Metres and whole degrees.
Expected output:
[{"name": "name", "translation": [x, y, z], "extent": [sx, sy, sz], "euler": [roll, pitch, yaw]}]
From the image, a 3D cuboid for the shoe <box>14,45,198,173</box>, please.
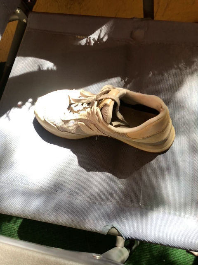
[{"name": "shoe", "translation": [0.016, -0.036, 0.409], "extent": [0.287, 0.104, 0.125], "euler": [19, 71, 0]}]
